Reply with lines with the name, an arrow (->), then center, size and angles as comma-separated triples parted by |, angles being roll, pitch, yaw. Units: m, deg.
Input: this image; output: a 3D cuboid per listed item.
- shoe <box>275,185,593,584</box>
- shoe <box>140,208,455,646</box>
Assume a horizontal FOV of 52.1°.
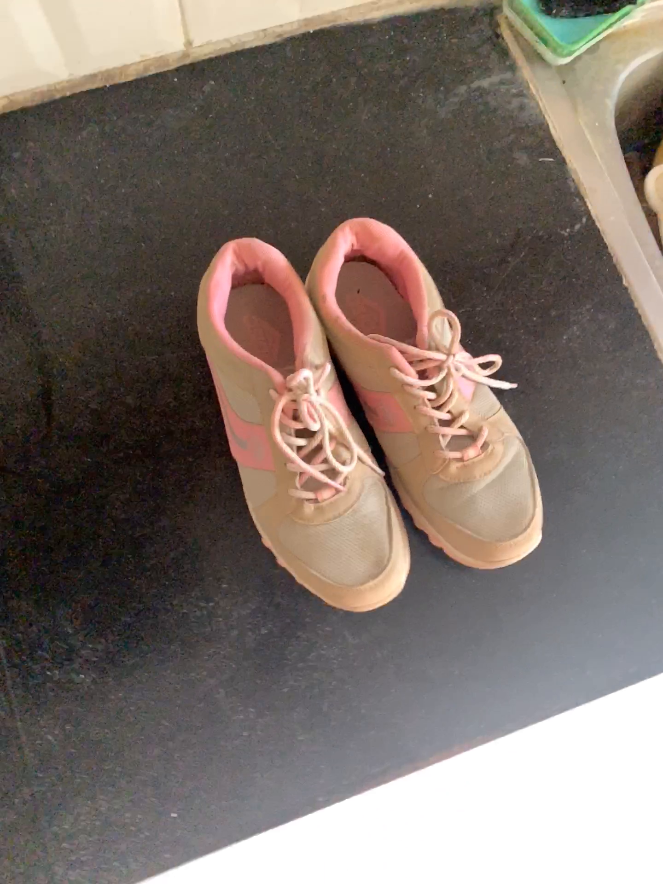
shoe -> 0.056, -0.032, 0.452 | 0.090, 0.100, 0.230 | -26, 80, -8
shoe -> -0.025, -0.007, 0.441 | 0.100, 0.100, 0.240 | -21, 79, -7
